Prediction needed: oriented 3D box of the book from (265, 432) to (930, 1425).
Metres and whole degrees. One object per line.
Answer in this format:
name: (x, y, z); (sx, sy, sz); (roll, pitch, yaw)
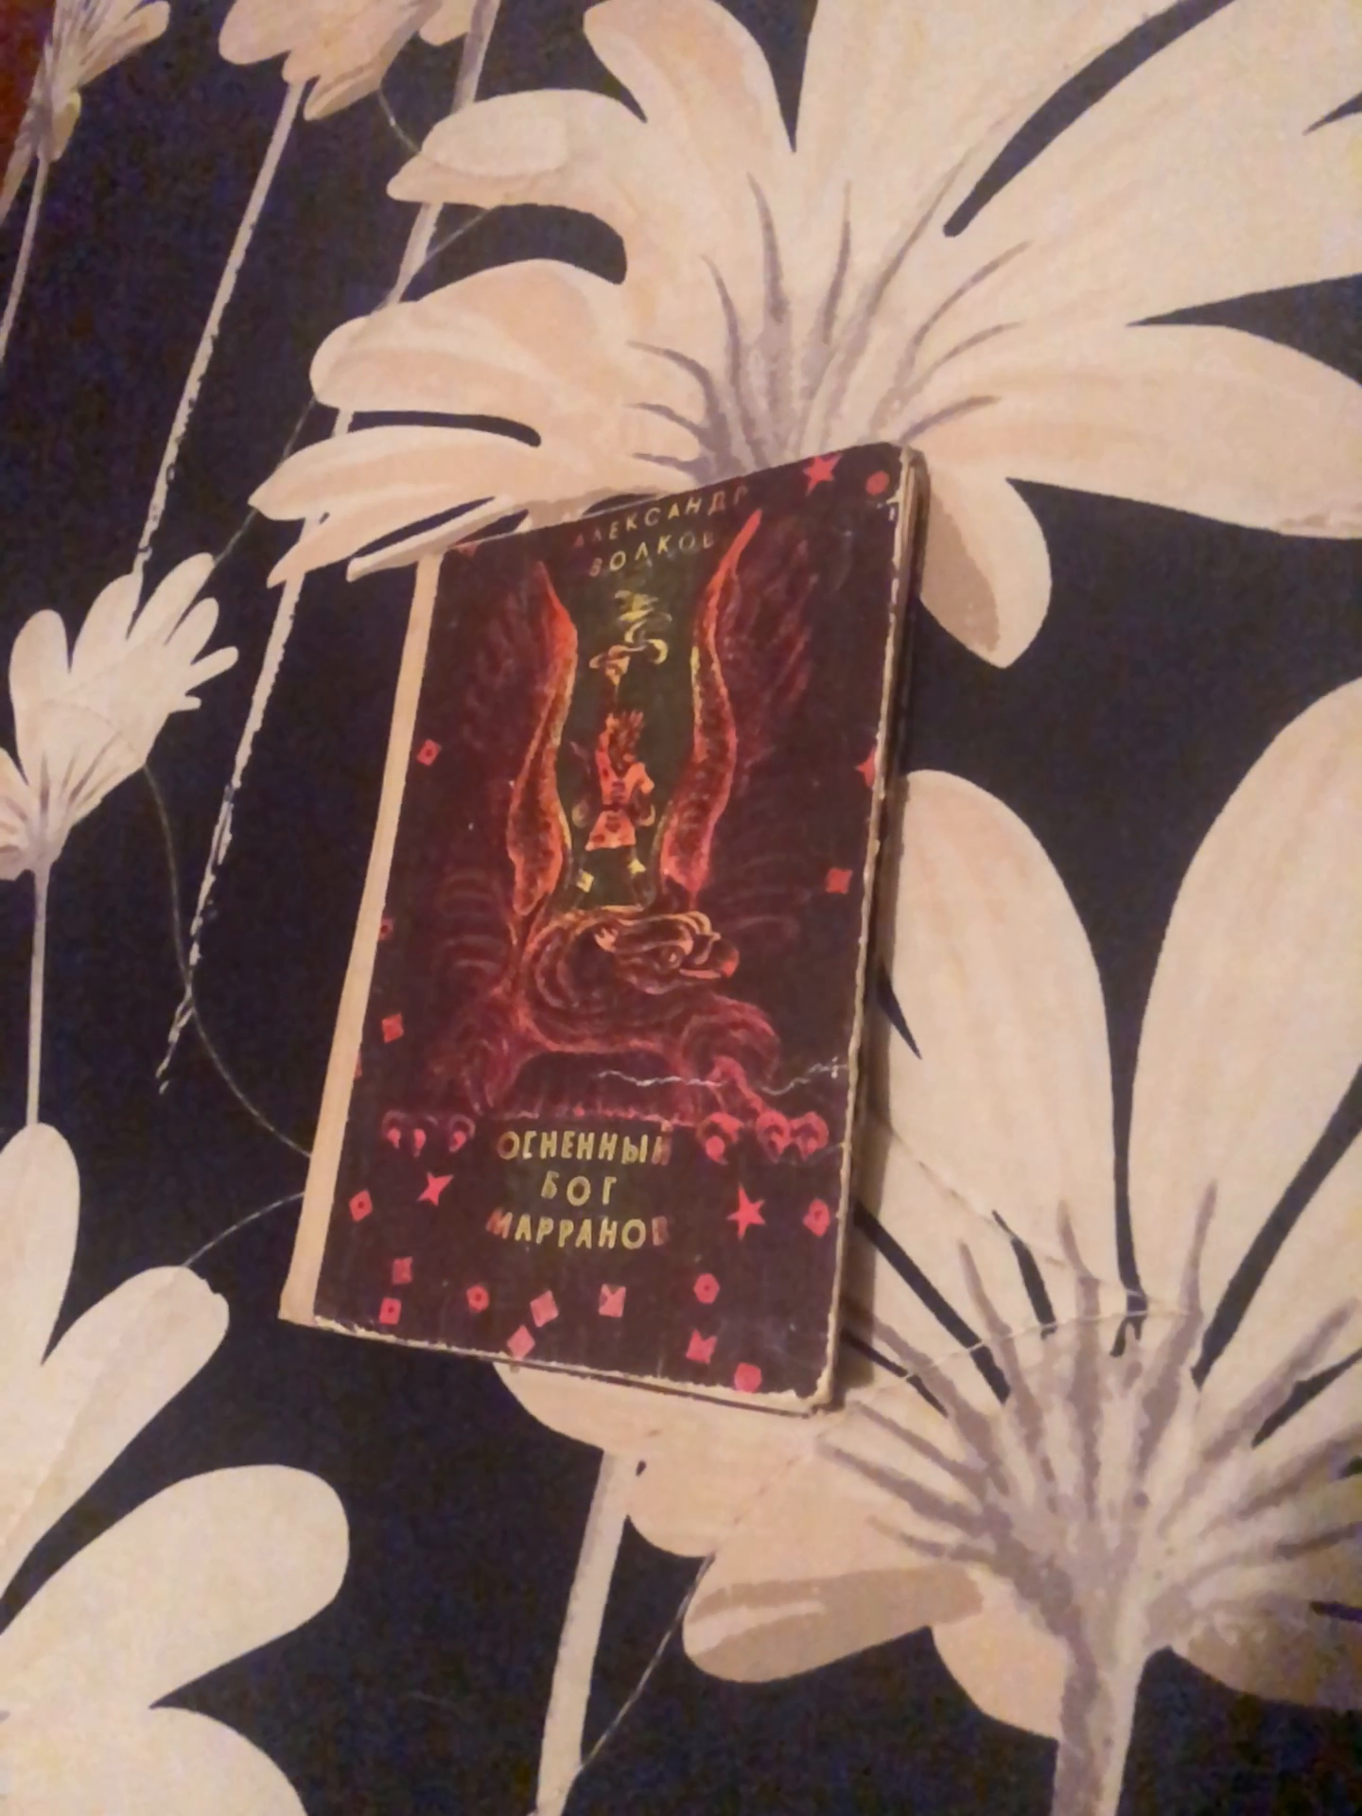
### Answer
book: (-0.022, 0.001, 0.360); (0.153, 0.019, 0.211); (-2, 75, 32)
